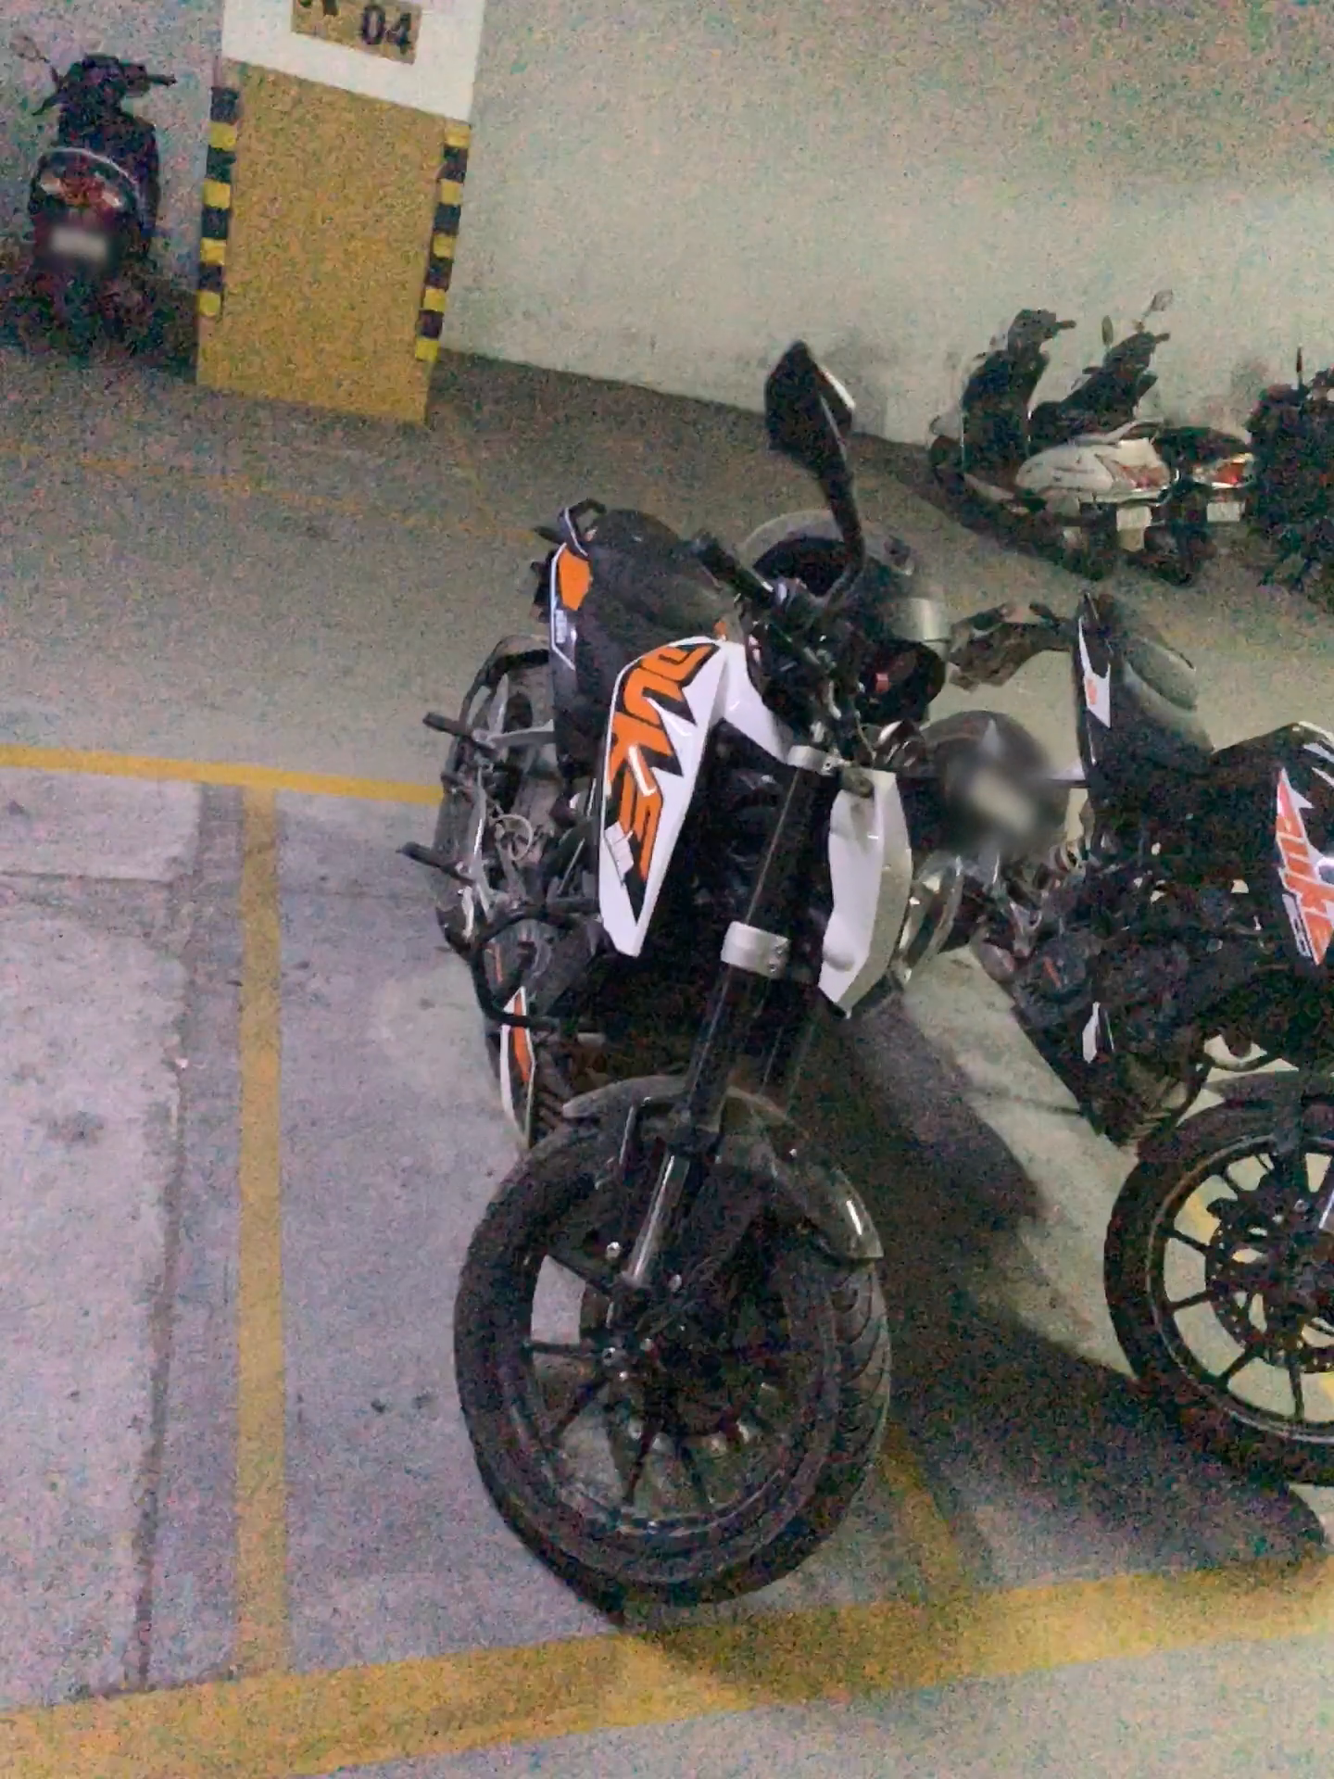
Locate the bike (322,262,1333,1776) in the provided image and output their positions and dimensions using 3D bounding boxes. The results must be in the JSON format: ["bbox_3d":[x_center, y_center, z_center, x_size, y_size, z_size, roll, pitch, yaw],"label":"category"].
[{"bbox_3d":[-0.047,-0.032,2.192,0.804,1.182,1.919,4,35,-20],"label":"bike"}]
